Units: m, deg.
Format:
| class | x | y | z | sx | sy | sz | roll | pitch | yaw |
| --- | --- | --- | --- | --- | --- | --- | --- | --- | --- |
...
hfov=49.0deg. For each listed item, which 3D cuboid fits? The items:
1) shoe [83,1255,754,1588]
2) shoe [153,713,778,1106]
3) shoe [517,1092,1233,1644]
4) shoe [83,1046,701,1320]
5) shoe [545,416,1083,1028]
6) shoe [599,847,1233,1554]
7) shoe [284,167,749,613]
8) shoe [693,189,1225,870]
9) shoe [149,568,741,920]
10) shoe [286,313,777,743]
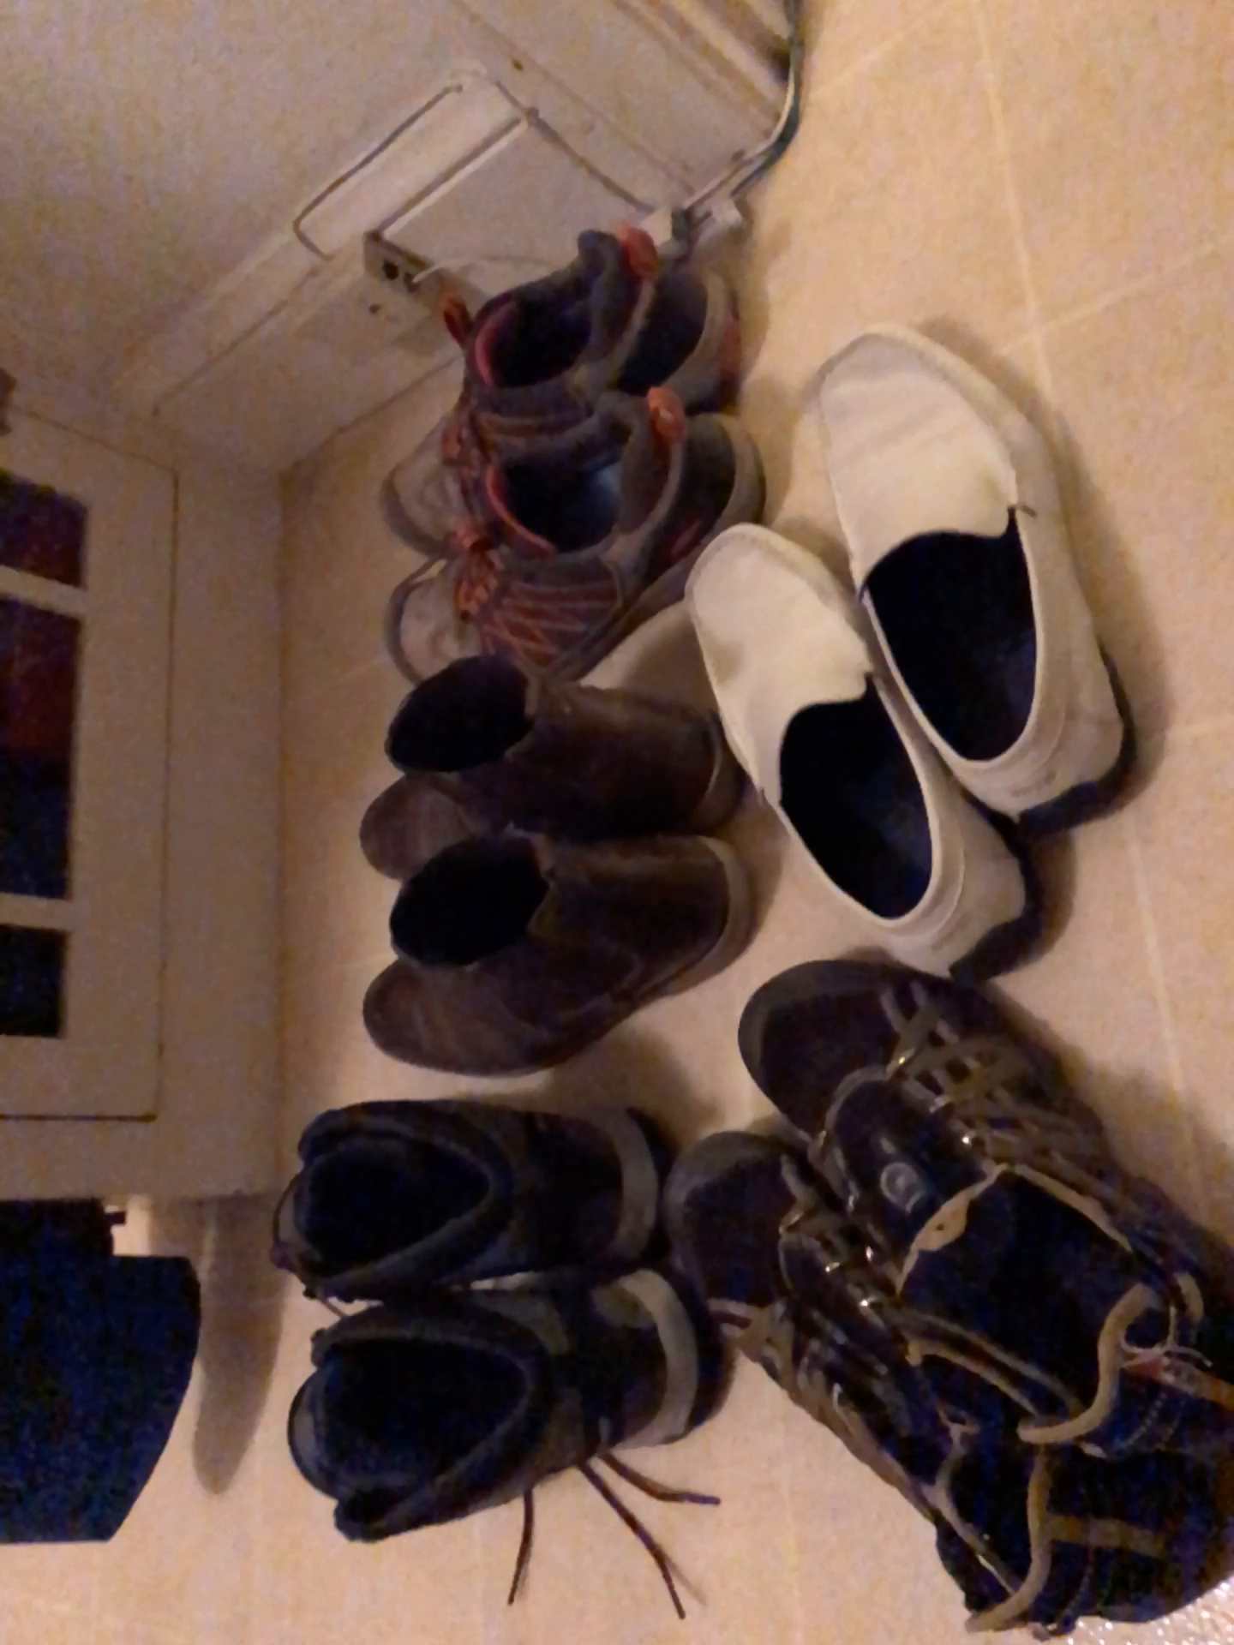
| class | x | y | z | sx | sy | sz | roll | pitch | yaw |
| --- | --- | --- | --- | --- | --- | --- | --- | --- | --- |
| shoe | -0.120 | 0.328 | 0.741 | 0.324 | 0.192 | 0.110 | -28 | 62 | 36 |
| shoe | -0.101 | 0.073 | 0.801 | 0.324 | 0.192 | 0.110 | -26 | 62 | 36 |
| shoe | 0.106 | 0.241 | 0.601 | 0.294 | 0.123 | 0.110 | 28 | 99 | 44 |
| shoe | -0.142 | 0.220 | 0.798 | 0.324 | 0.192 | 0.110 | -20 | 66 | 39 |
| shoe | 0.089 | -0.056 | 0.700 | 0.110 | 0.113 | 0.304 | -45 | 53 | 26 |
| shoe | 0.141 | 0.144 | 0.598 | 0.294 | 0.123 | 0.110 | 43 | 109 | 41 |
| shoe | -0.079 | -0.265 | 0.890 | 0.314 | 0.113 | 0.110 | -22 | 65 | 38 |
| shoe | 0.156 | -0.143 | 0.662 | 0.110 | 0.113 | 0.304 | -35 | 57 | 32 |
| shoe | -0.113 | -0.028 | 0.835 | 0.324 | 0.192 | 0.110 | -13 | 70 | 41 |
| shoe | -0.067 | -0.165 | 0.846 | 0.314 | 0.113 | 0.110 | -22 | 65 | 38 |
